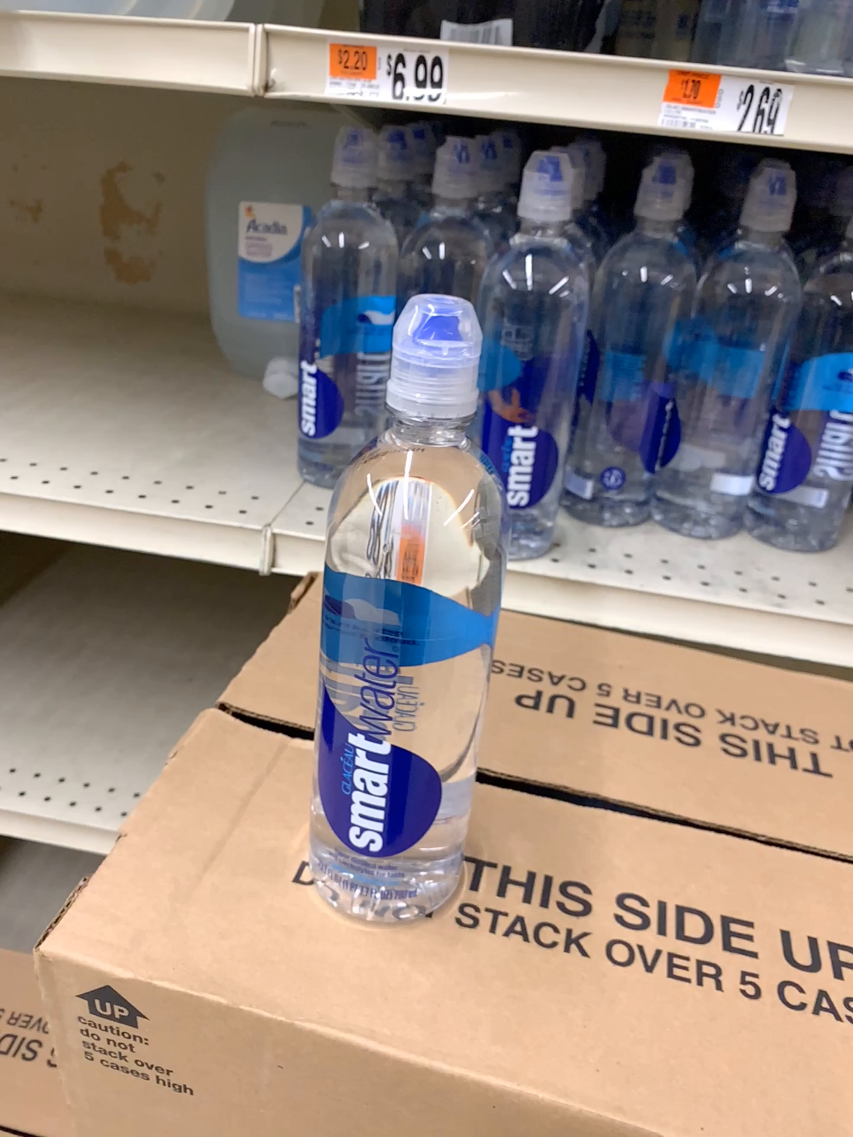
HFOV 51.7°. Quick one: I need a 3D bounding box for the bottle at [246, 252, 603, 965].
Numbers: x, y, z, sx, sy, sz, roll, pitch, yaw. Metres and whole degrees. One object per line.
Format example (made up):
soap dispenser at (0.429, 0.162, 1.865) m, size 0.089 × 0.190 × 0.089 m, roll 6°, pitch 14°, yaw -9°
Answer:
bottle at (-0.004, 0.020, 0.341) m, size 0.090 × 0.249 × 0.090 m, roll 4°, pitch 29°, yaw -2°
